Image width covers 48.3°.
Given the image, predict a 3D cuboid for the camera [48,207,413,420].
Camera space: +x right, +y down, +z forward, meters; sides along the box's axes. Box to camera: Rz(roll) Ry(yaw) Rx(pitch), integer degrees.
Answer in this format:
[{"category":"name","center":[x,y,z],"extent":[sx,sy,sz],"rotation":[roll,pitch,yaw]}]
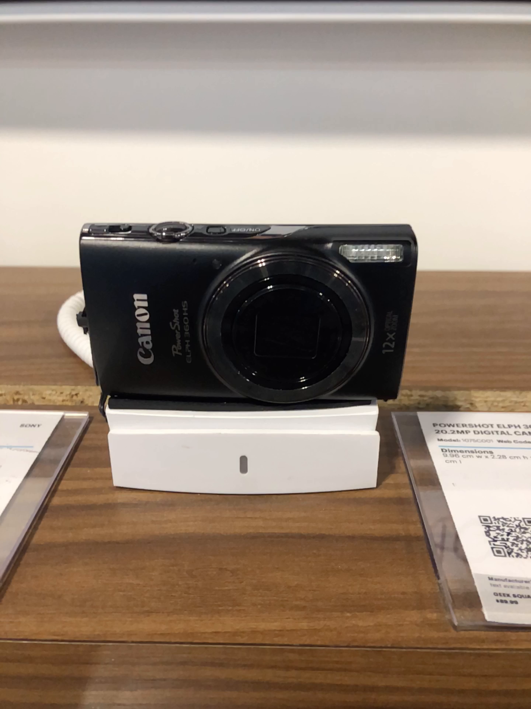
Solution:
[{"category":"camera","center":[-0.010,-0.013,0.188],"extent":[0.100,0.060,0.030],"rotation":[0,25,0]}]
